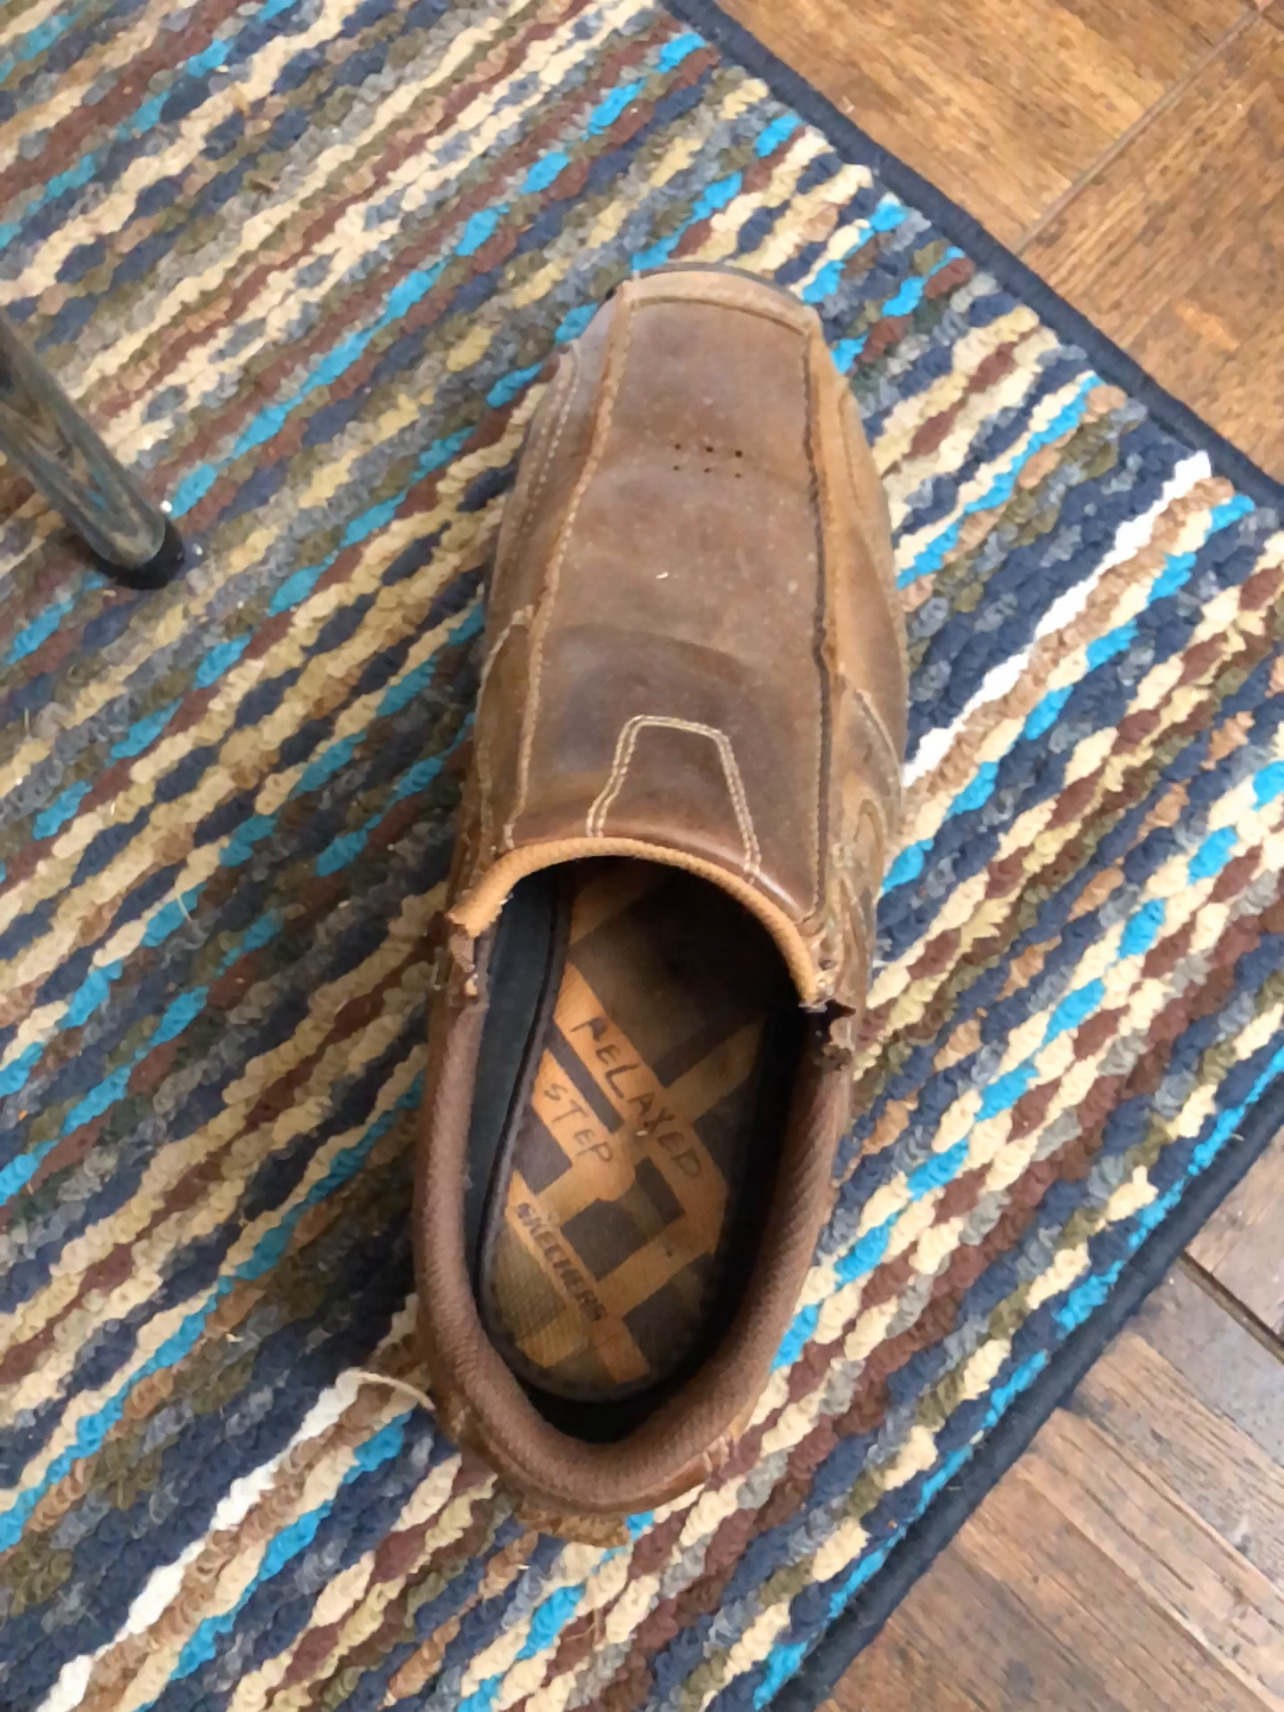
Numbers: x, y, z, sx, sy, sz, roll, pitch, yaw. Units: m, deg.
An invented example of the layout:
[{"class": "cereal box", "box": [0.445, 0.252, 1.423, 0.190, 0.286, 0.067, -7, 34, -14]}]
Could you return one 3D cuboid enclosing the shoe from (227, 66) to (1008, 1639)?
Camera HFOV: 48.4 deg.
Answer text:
[{"class": "shoe", "box": [0.002, -0.006, 0.308, 0.100, 0.100, 0.280, 9, 77, -1]}]
